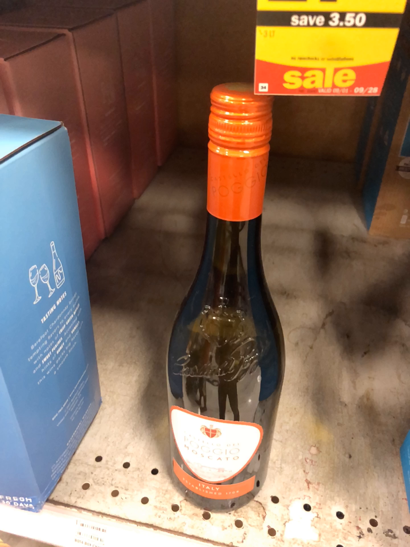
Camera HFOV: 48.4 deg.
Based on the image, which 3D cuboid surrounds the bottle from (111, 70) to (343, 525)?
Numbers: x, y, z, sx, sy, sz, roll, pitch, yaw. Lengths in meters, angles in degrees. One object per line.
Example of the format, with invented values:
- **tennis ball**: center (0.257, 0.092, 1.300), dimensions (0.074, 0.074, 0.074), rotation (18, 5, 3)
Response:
- **bottle**: center (0.013, 0.046, 0.277), dimensions (0.080, 0.299, 0.070), rotation (7, 40, 8)
